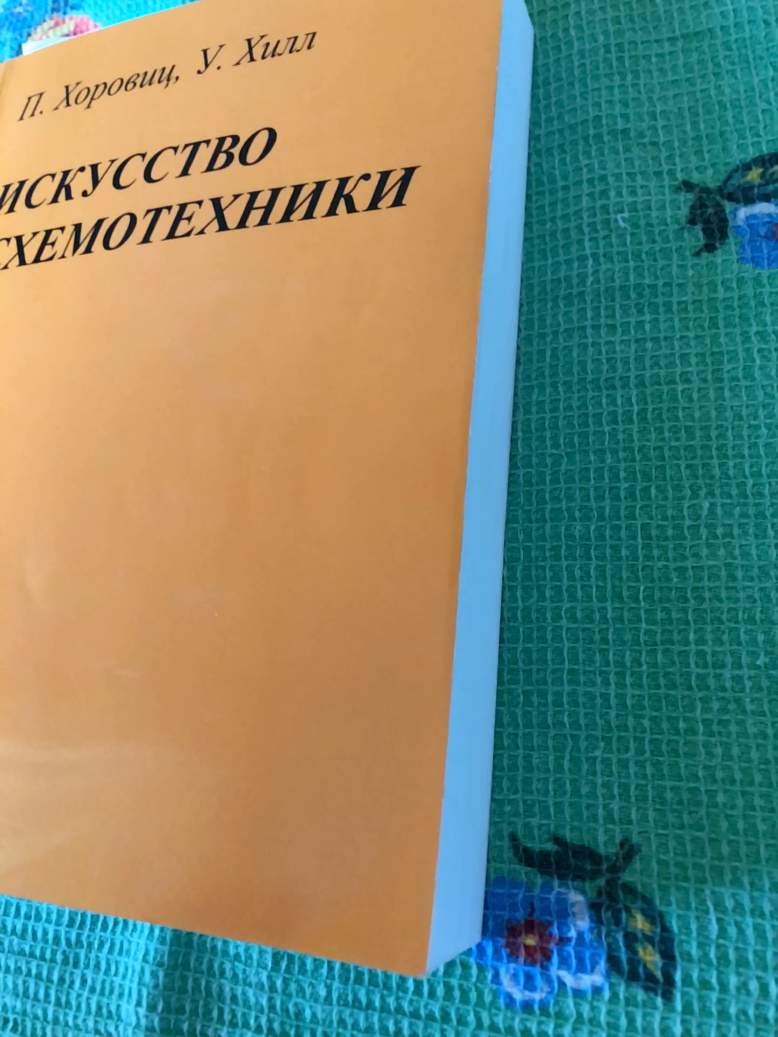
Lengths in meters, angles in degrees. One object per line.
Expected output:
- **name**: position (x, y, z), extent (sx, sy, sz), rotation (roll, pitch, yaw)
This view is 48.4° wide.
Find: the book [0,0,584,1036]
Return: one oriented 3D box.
- **book**: position (-0.047, -0.030, 0.236), extent (0.180, 0.050, 0.261), rotation (-1, 68, 22)
